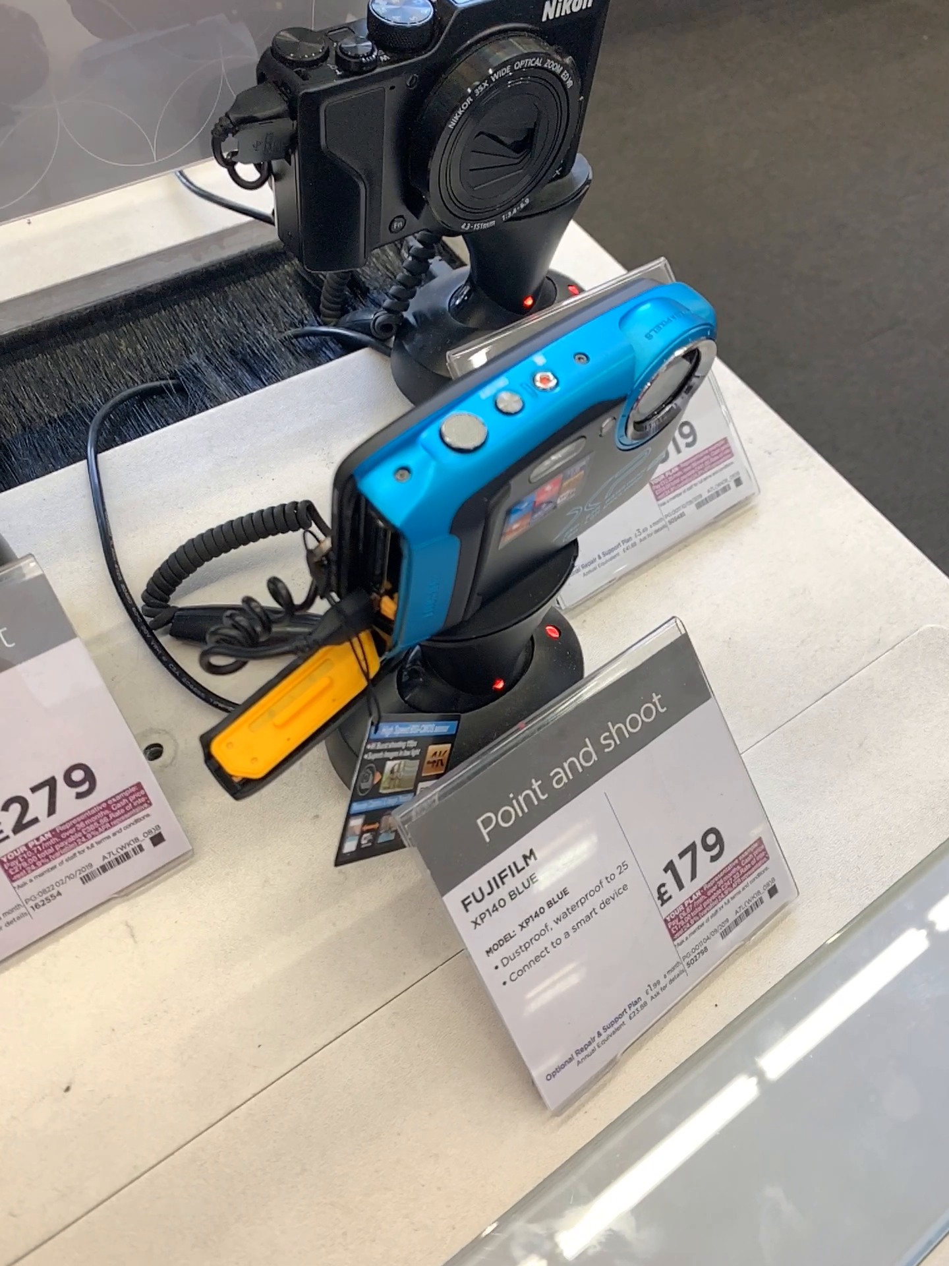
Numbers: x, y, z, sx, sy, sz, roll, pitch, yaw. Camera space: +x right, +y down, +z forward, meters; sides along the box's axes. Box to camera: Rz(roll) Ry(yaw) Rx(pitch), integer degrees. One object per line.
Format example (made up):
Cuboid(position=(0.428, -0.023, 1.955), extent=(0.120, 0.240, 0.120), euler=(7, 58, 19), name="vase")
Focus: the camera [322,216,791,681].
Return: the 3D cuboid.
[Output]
Cuboid(position=(0.018, -0.044, 0.228), extent=(0.110, 0.060, 0.030), euler=(-36, 69, -25), name="camera")
